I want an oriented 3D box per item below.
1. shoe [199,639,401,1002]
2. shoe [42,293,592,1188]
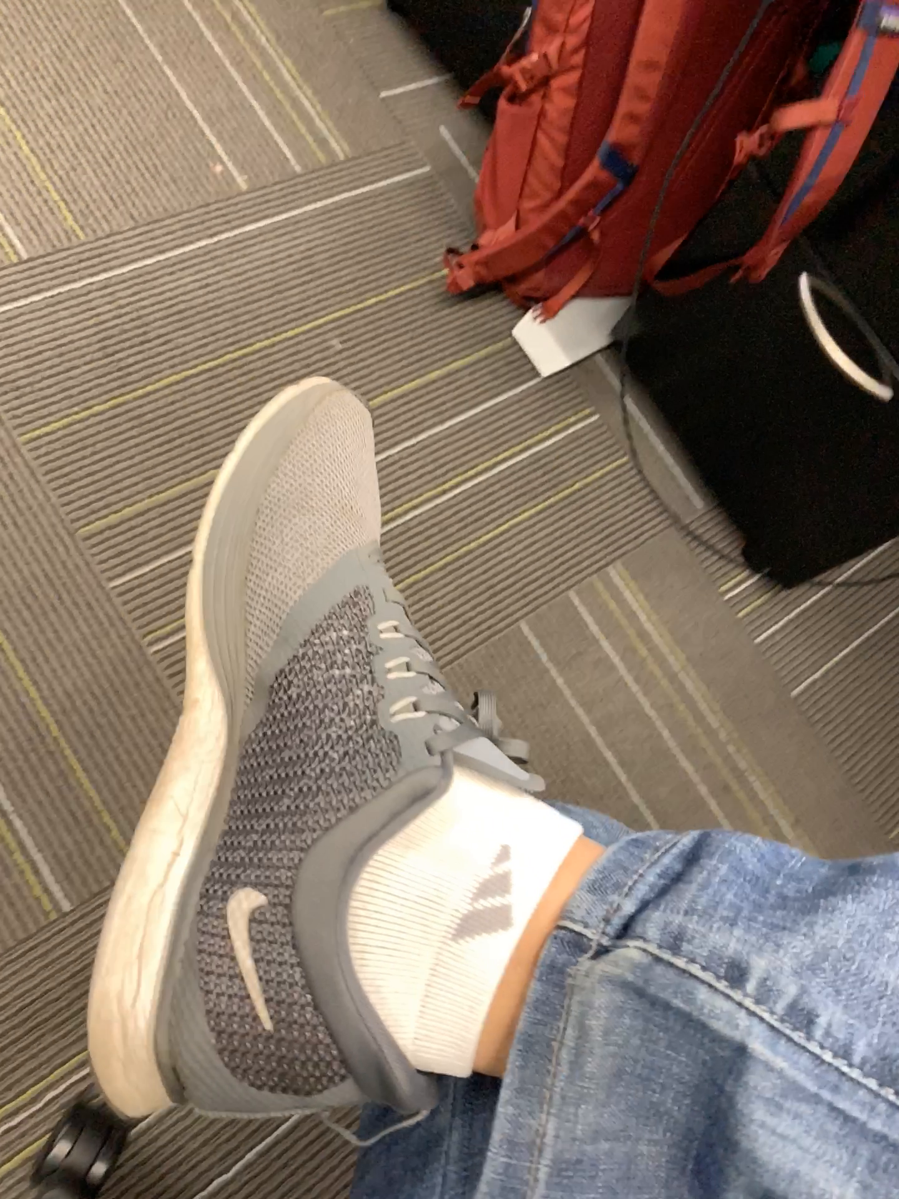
[{"bbox_3d":[-0.142,0.195,0.847,0.117,0.074,0.293,-9,76,-21],"label":"shoe"},{"bbox_3d":[-0.025,0.042,0.365,0.142,0.116,0.294,-2,65,15],"label":"shoe"}]
